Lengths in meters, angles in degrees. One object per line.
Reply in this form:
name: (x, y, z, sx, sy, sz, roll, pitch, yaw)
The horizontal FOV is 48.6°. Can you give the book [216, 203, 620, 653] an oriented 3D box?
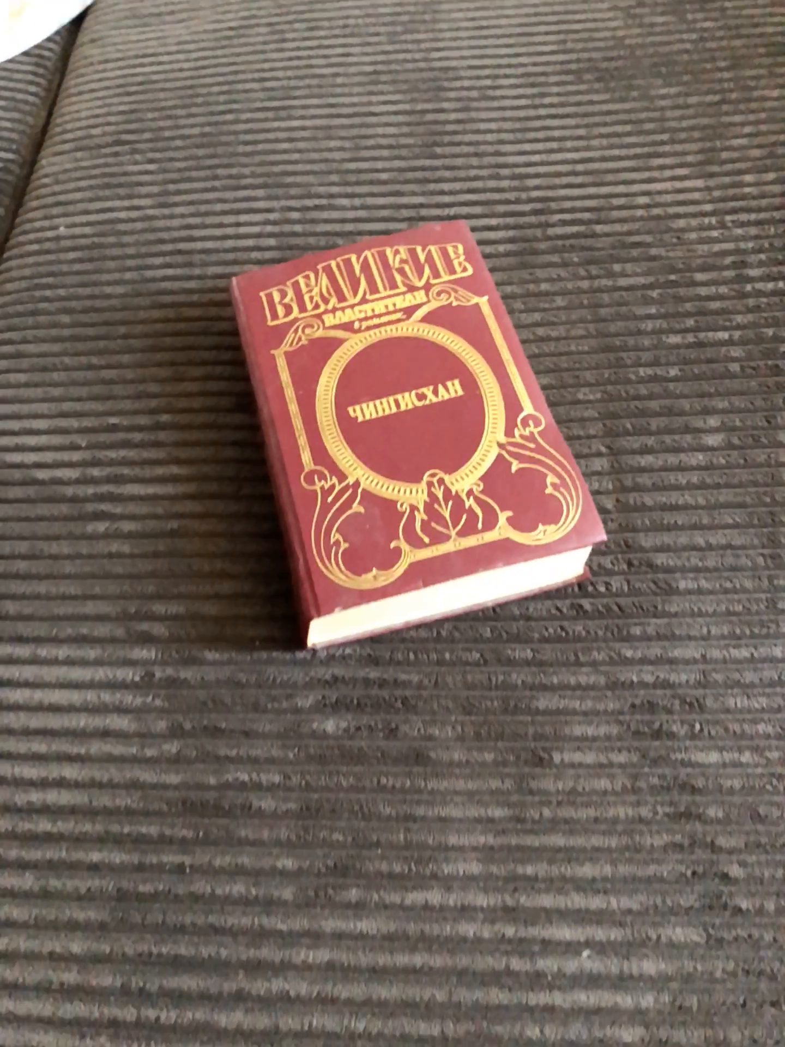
book: (0.003, -0.056, 0.425, 0.137, 0.050, 0.203, -15, 60, -5)
